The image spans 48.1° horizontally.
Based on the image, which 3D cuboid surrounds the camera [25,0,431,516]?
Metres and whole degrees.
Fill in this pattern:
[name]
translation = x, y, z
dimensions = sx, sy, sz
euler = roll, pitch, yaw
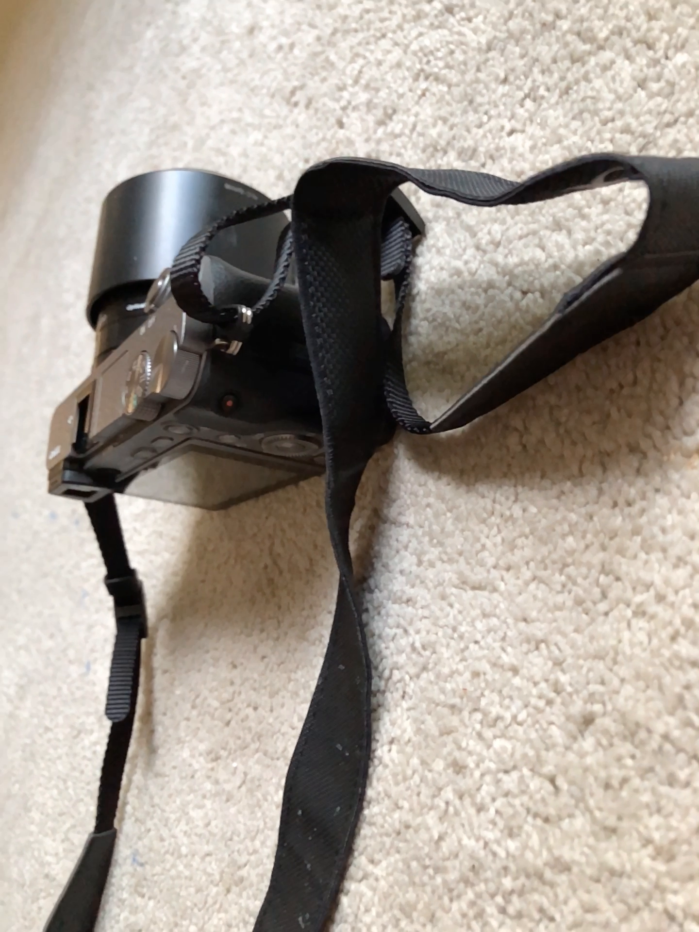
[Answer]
[camera]
translation = -0.041, -0.048, 0.242
dimensions = 0.121, 0.070, 0.100
euler = -19, 64, 52
